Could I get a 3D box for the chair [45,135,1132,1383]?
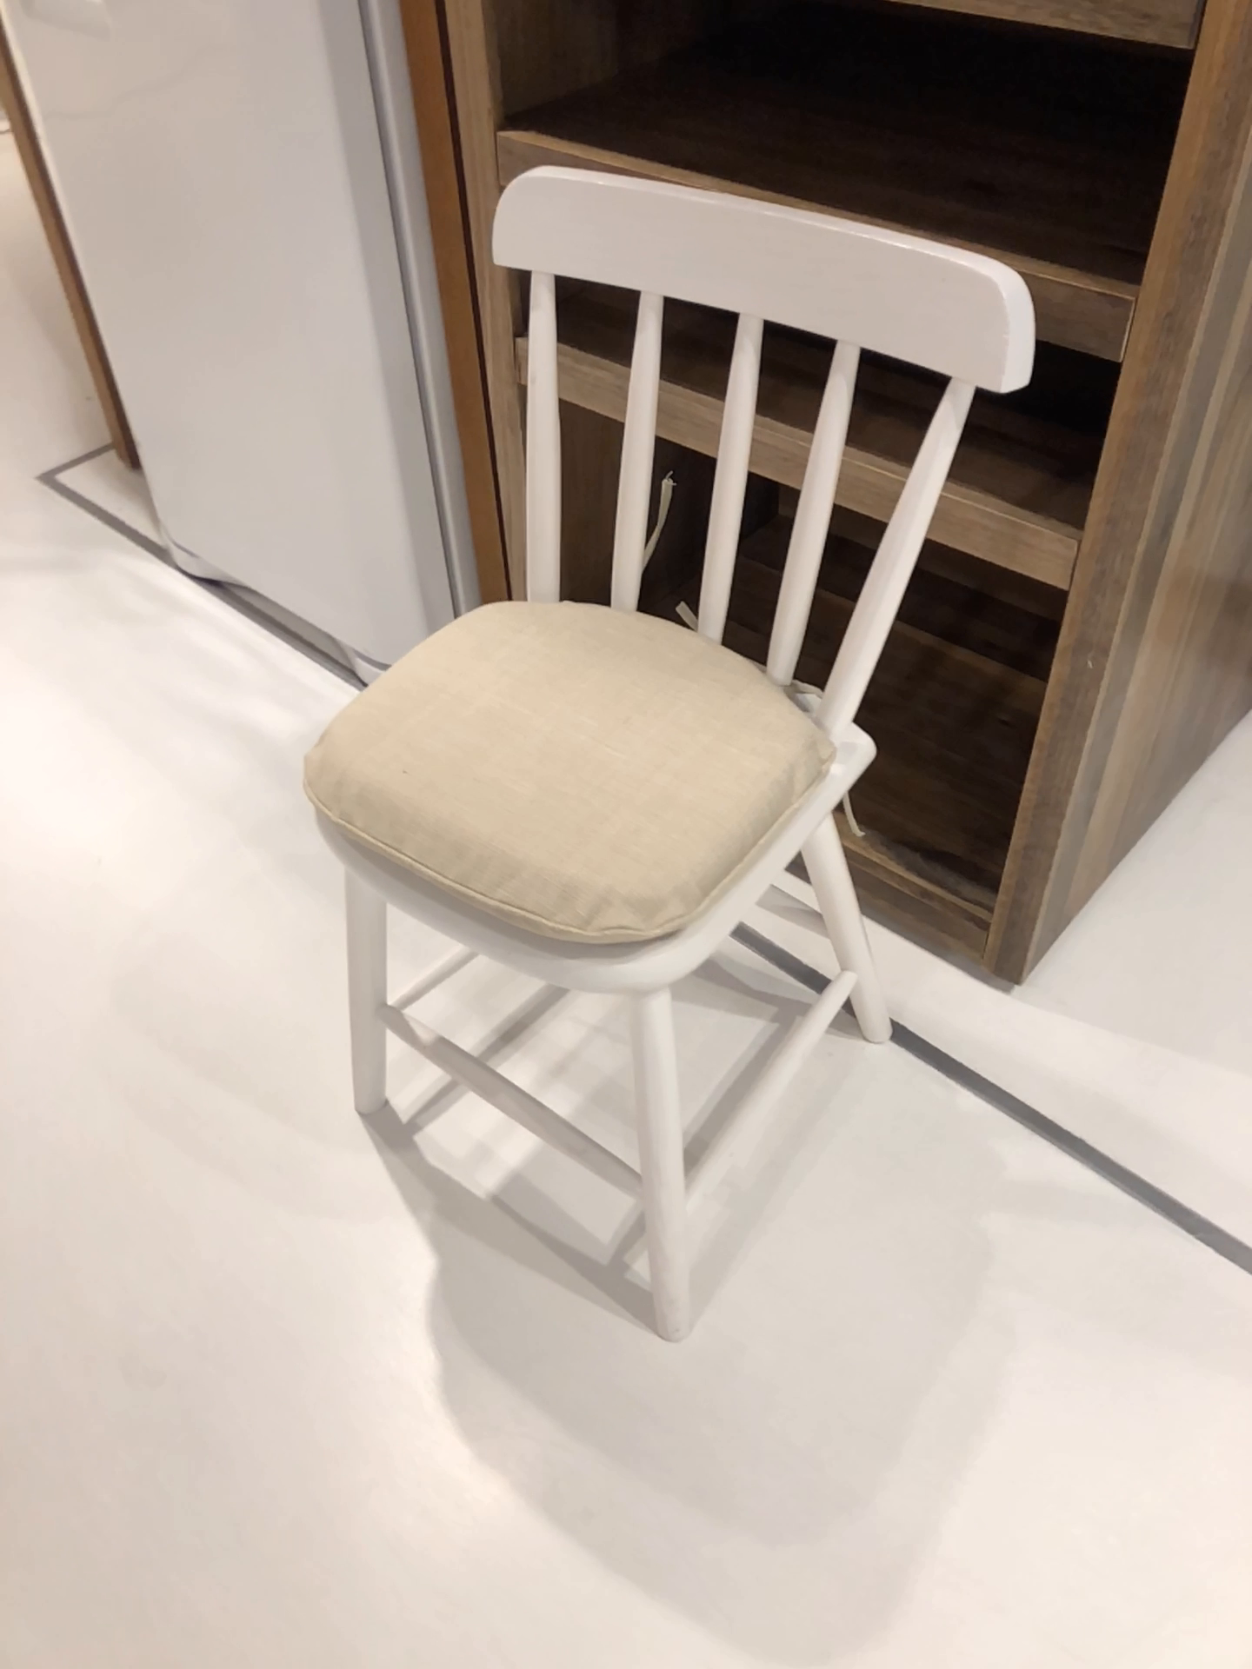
[{"bbox_3d":[-0.001,-0.051,1.078,0.451,0.725,0.482,28,52,27],"label":"chair"}]
